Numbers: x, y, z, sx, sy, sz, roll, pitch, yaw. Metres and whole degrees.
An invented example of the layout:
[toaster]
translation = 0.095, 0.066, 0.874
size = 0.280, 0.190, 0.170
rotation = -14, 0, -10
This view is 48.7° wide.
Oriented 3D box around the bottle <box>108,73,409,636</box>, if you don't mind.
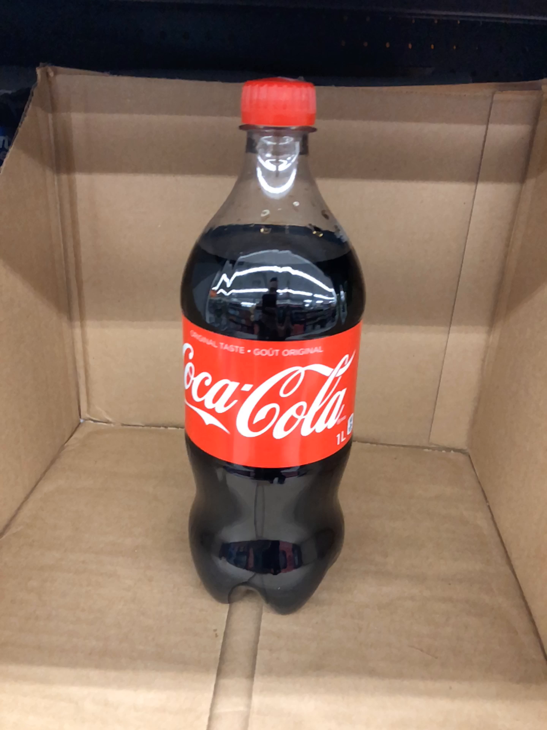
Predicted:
[bottle]
translation = -0.003, -0.002, 0.296
size = 0.100, 0.248, 0.091
rotation = 8, 27, 11
